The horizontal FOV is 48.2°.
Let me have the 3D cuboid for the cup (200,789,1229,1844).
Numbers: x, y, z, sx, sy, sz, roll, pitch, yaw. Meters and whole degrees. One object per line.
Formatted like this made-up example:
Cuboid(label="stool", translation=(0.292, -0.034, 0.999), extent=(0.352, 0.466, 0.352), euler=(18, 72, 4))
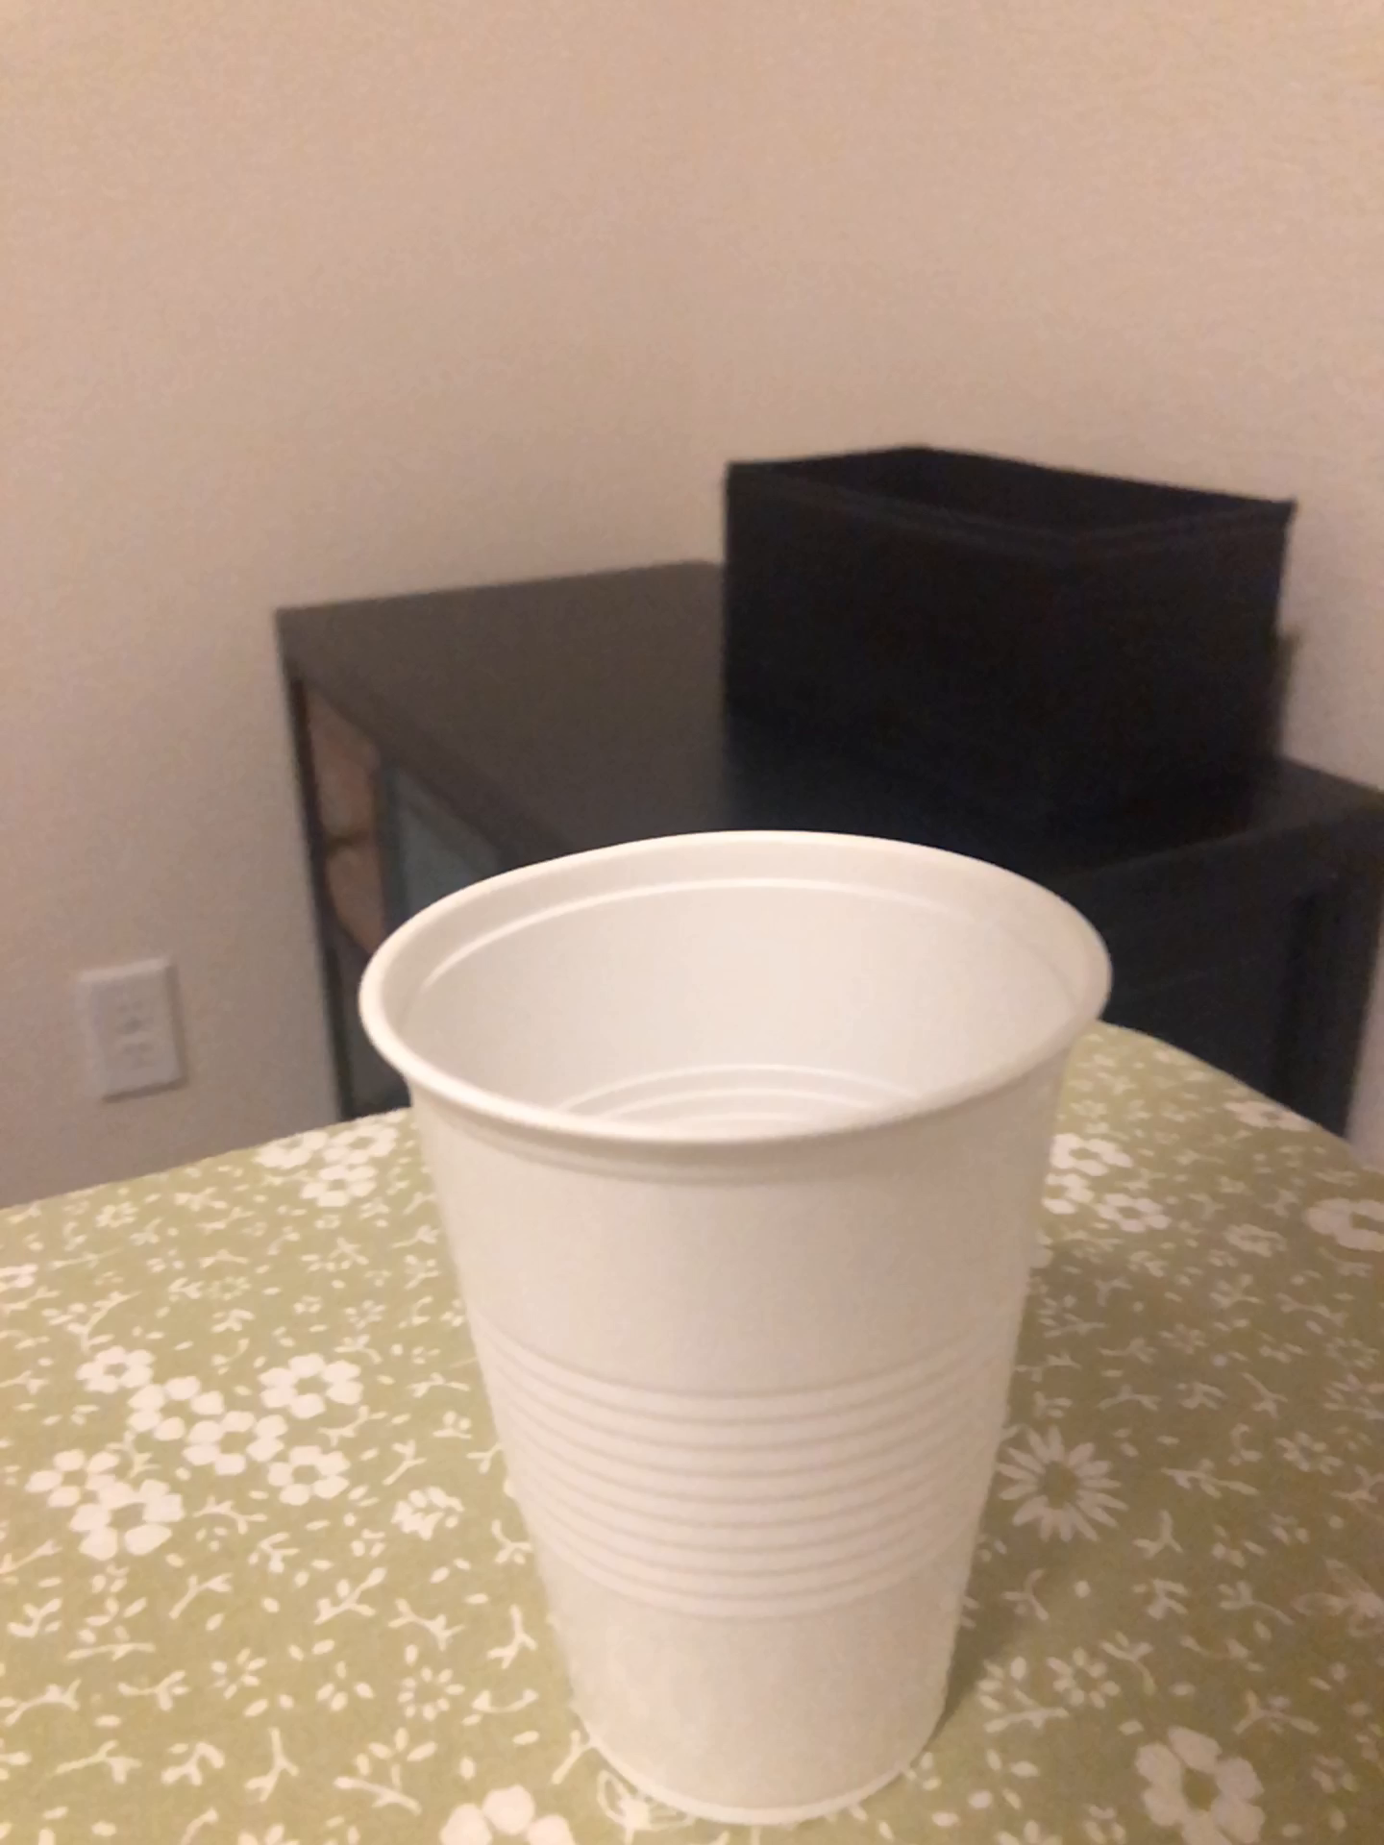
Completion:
Cuboid(label="cup", translation=(0.004, 0.043, 0.181), extent=(0.079, 0.090, 0.078), euler=(-2, 21, 1))
